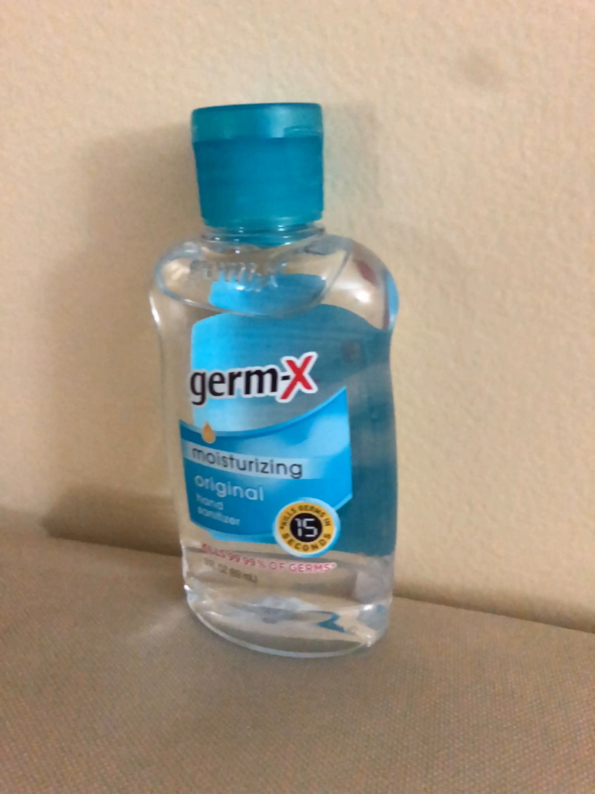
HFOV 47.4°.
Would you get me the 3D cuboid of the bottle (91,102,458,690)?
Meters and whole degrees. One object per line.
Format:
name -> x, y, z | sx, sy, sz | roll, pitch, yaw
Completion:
bottle -> -0.003, 0.000, 0.141 | 0.060, 0.110, 0.030 | 6, 20, 16
